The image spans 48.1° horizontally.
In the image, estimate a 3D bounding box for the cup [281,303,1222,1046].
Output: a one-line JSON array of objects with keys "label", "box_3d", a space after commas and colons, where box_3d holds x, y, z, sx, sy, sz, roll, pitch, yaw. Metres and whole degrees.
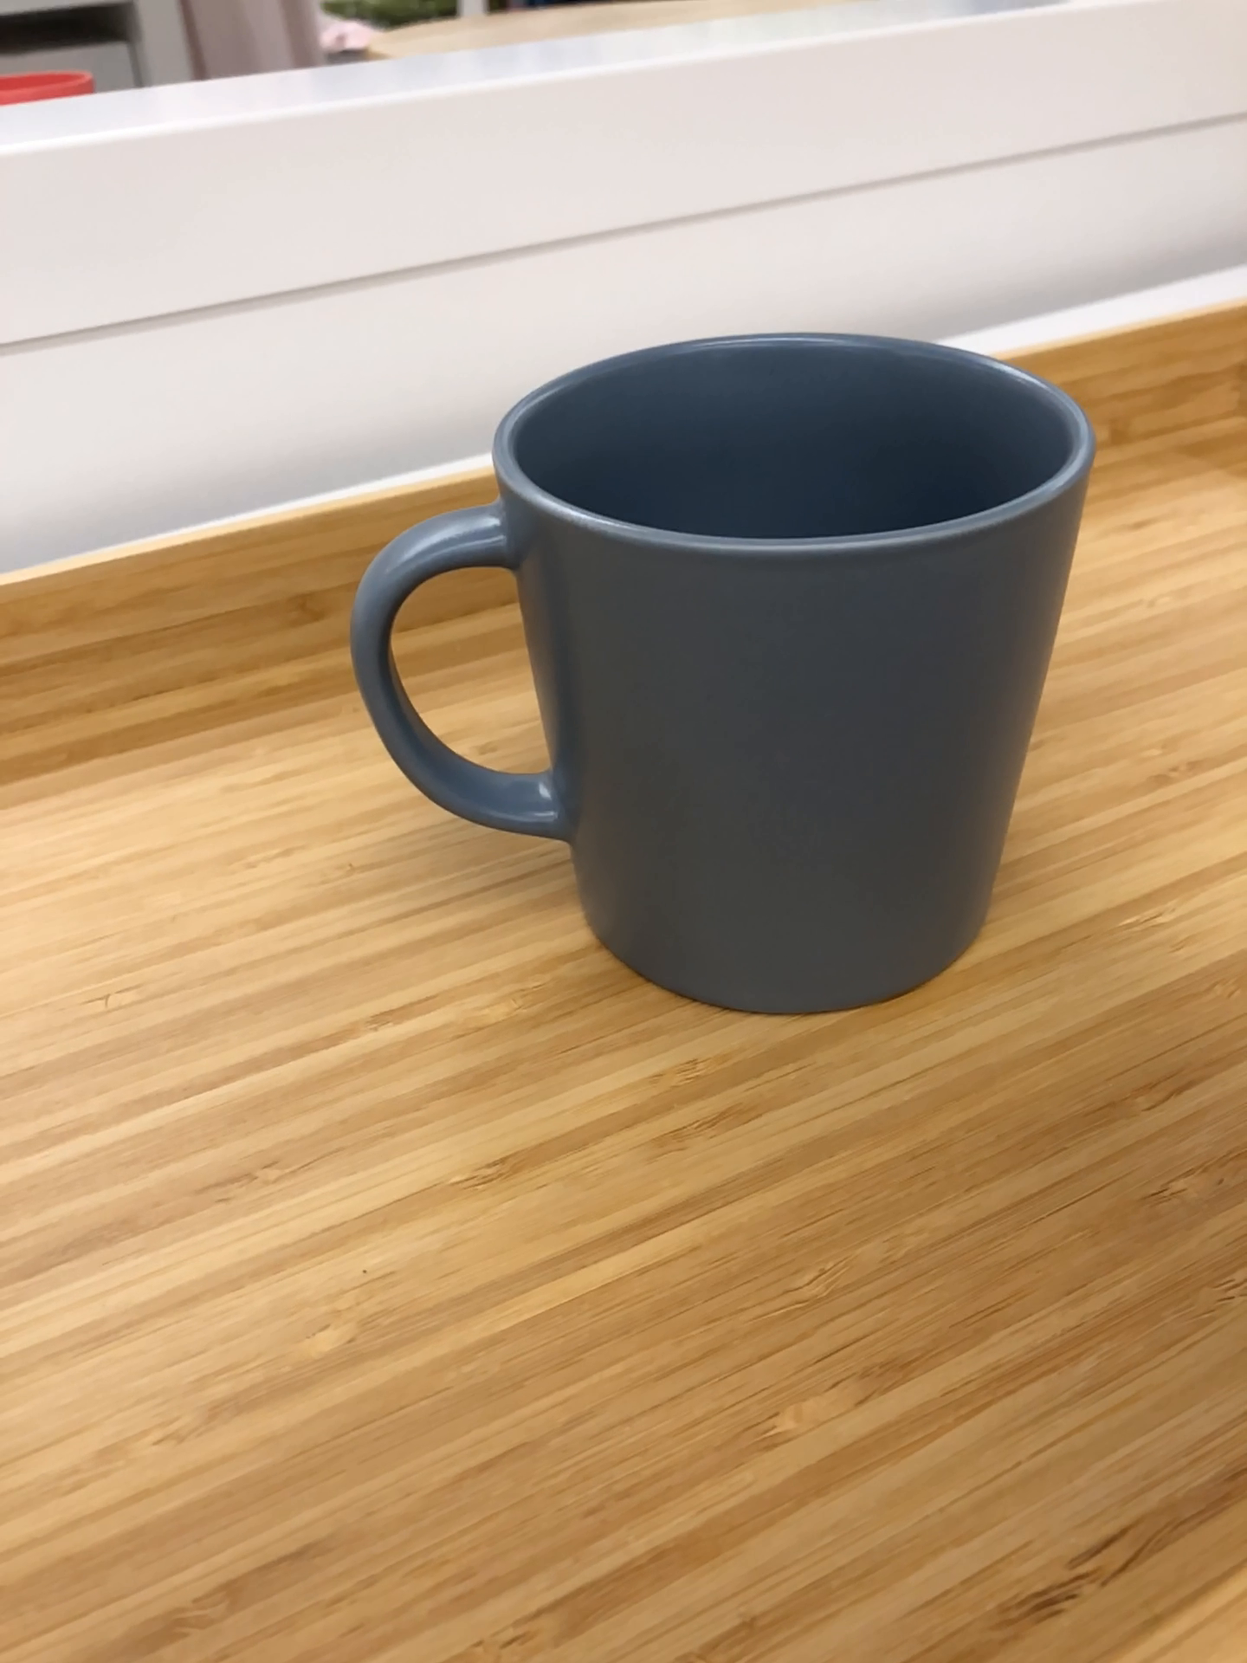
[{"label": "cup", "box_3d": [0.016, -0.030, 0.241, 0.120, 0.090, 0.090, -2, 35, -1]}]
